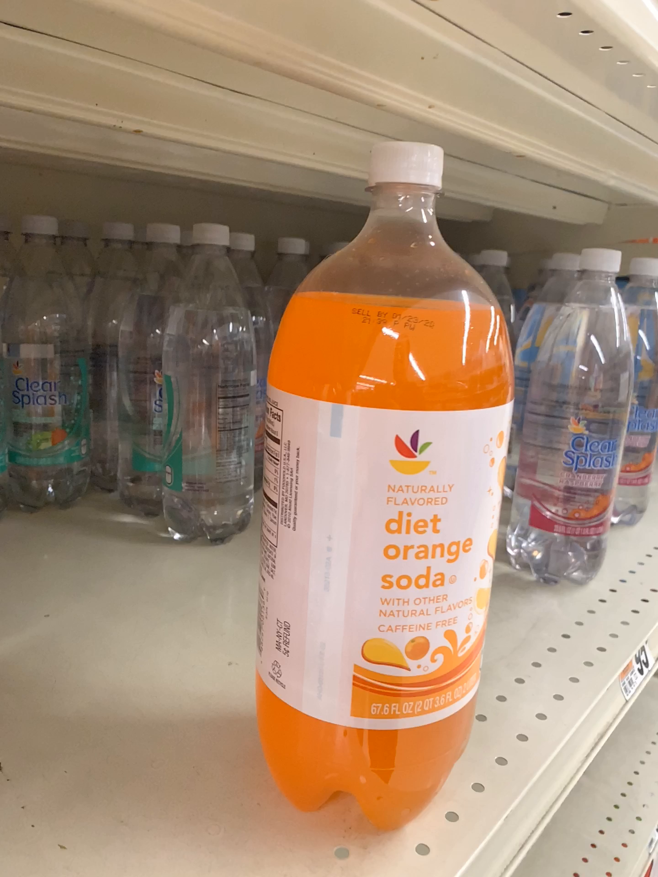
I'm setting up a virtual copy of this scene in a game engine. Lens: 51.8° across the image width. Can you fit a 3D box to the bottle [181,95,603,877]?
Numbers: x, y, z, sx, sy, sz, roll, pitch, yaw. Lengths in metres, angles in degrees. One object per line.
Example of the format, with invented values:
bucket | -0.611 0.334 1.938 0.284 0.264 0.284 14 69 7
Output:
bottle | 0.017 0.022 0.306 0.120 0.289 0.110 4 15 -1
